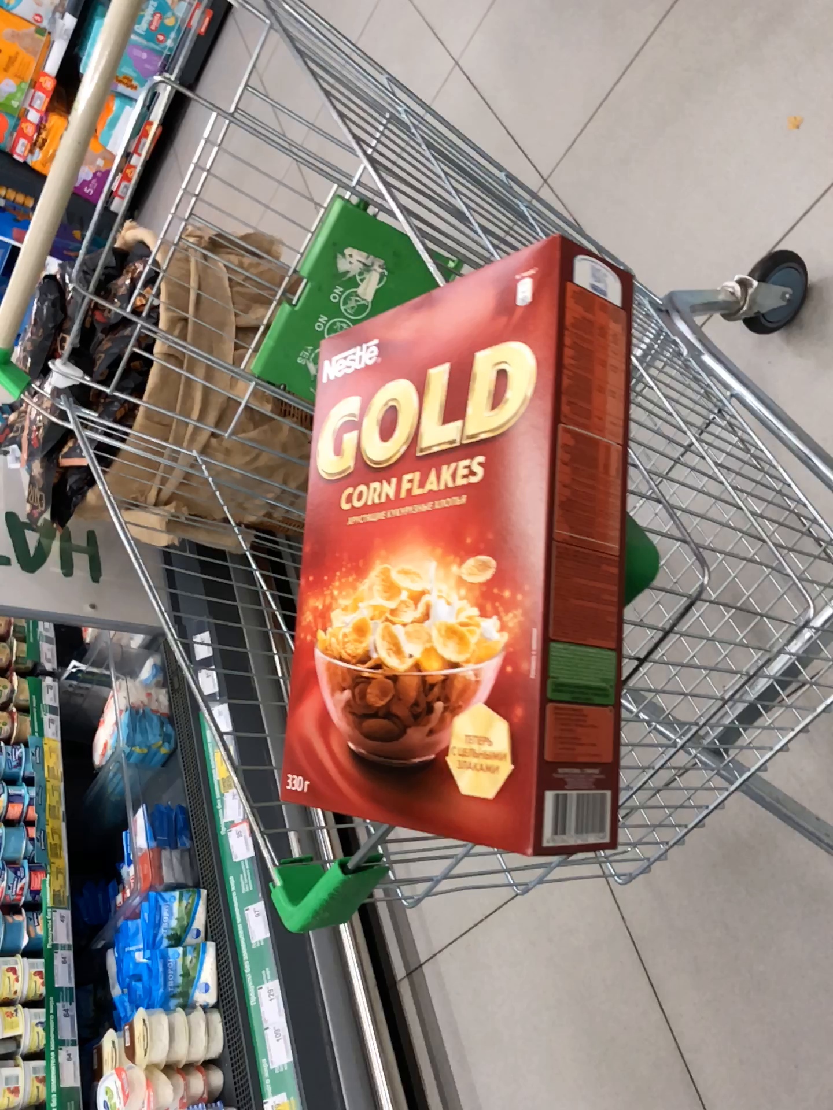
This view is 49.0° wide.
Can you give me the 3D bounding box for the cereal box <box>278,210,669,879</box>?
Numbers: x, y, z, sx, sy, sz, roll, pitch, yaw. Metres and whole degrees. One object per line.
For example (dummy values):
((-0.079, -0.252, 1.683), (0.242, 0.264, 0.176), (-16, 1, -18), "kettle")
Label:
((0.021, 0.000, 0.476), (0.211, 0.060, 0.280), (-7, 76, 51), "cereal box")
